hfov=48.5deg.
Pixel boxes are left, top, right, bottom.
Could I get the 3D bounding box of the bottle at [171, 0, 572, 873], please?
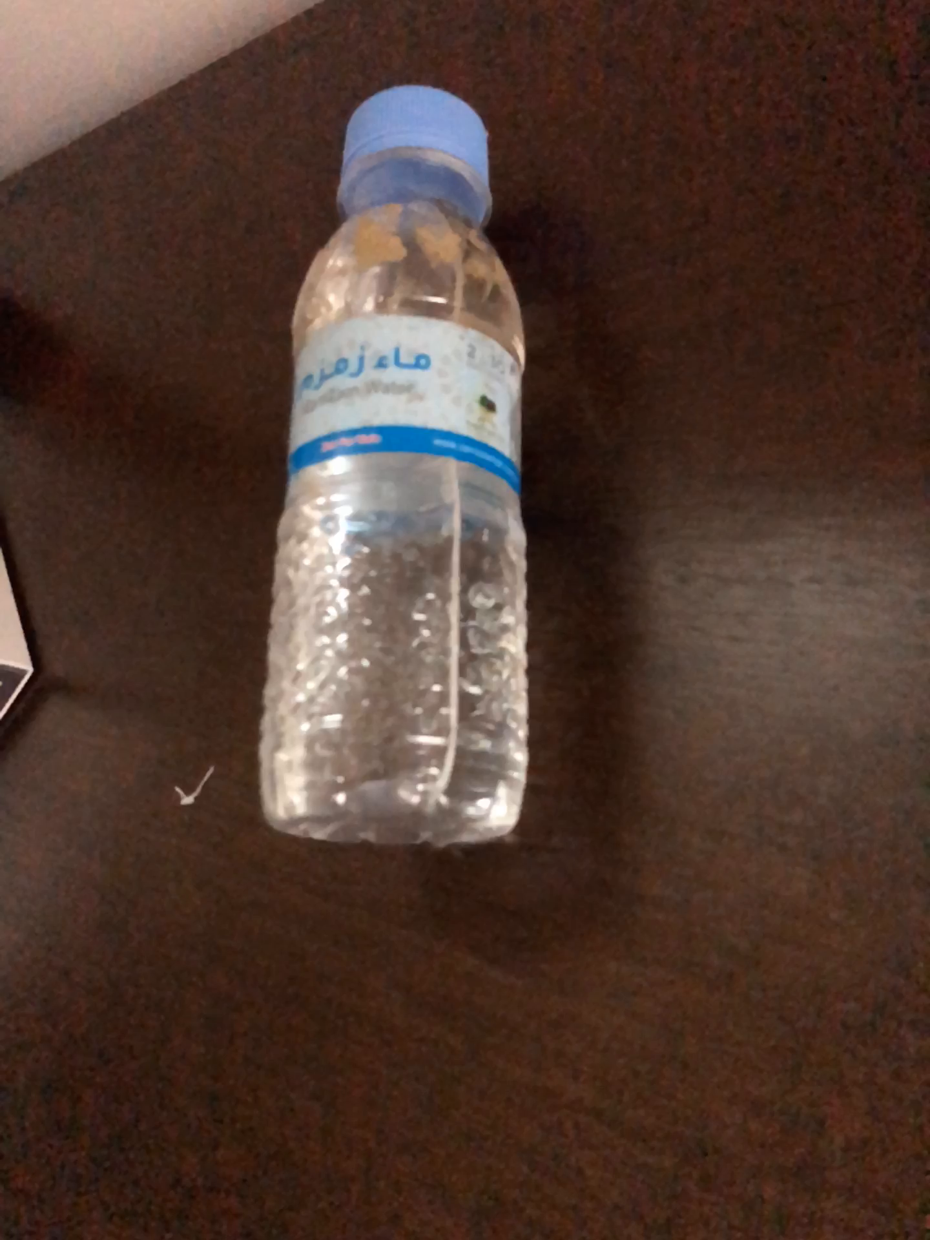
[{"bbox_3d":[-0.015,-0.035,0.206,0.050,0.050,0.160,-11,68,28],"label":"bottle"}]
